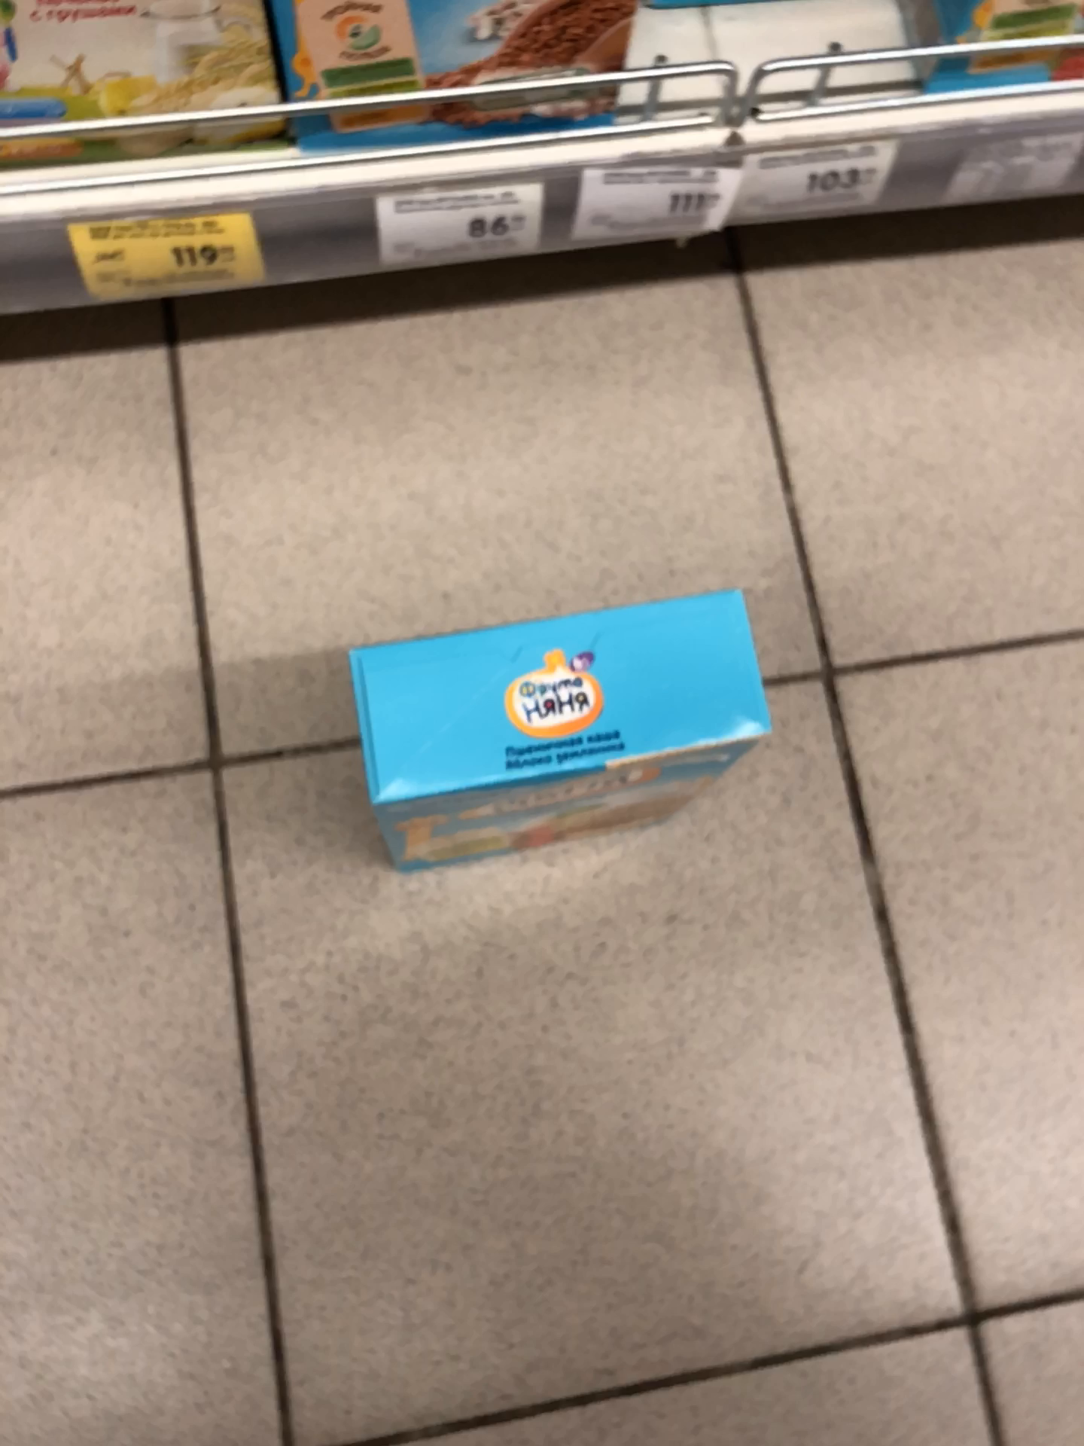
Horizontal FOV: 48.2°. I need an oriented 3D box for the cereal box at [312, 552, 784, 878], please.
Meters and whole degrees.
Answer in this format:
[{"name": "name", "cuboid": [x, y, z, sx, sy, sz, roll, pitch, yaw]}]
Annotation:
[{"name": "cereal box", "cuboid": [-0.004, 0.008, 0.480, 0.140, 0.200, 0.060, -11, 78, -6]}]
